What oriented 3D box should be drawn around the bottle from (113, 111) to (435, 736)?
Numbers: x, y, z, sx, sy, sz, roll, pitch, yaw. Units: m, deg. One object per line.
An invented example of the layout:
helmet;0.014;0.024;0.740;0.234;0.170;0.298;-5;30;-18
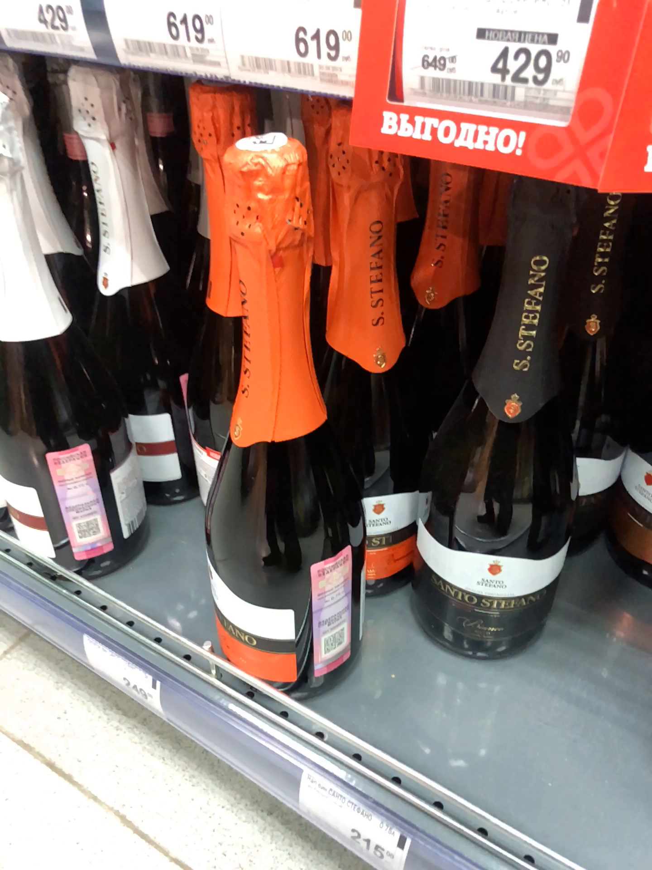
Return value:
bottle;-0.023;0.010;0.368;0.100;0.298;0.100;-1;36;1
